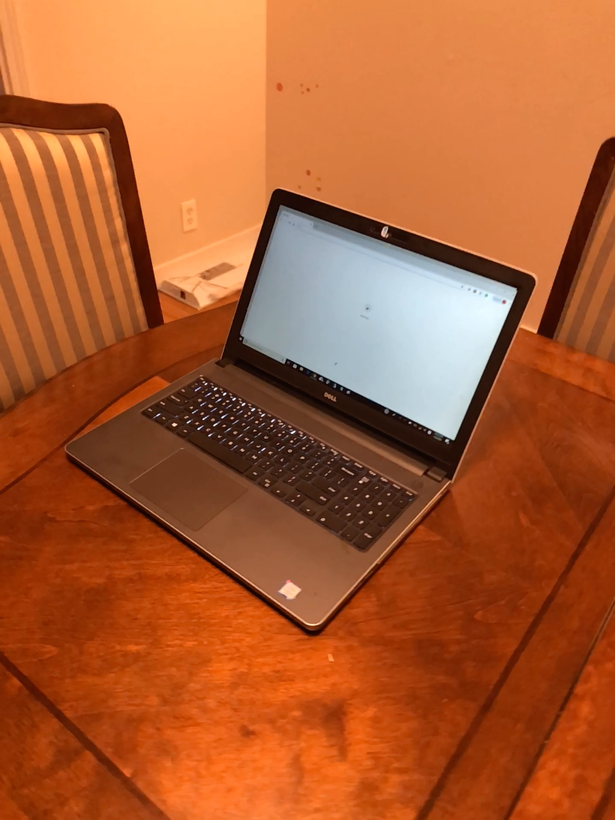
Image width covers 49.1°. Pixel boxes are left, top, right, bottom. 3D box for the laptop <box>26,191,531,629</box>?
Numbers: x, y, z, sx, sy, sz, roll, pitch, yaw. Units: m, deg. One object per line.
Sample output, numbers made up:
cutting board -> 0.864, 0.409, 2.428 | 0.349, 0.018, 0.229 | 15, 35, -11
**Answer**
laptop -> -0.024, -0.045, 0.748 | 0.370, 0.212, 0.361 | 28, 44, 29
